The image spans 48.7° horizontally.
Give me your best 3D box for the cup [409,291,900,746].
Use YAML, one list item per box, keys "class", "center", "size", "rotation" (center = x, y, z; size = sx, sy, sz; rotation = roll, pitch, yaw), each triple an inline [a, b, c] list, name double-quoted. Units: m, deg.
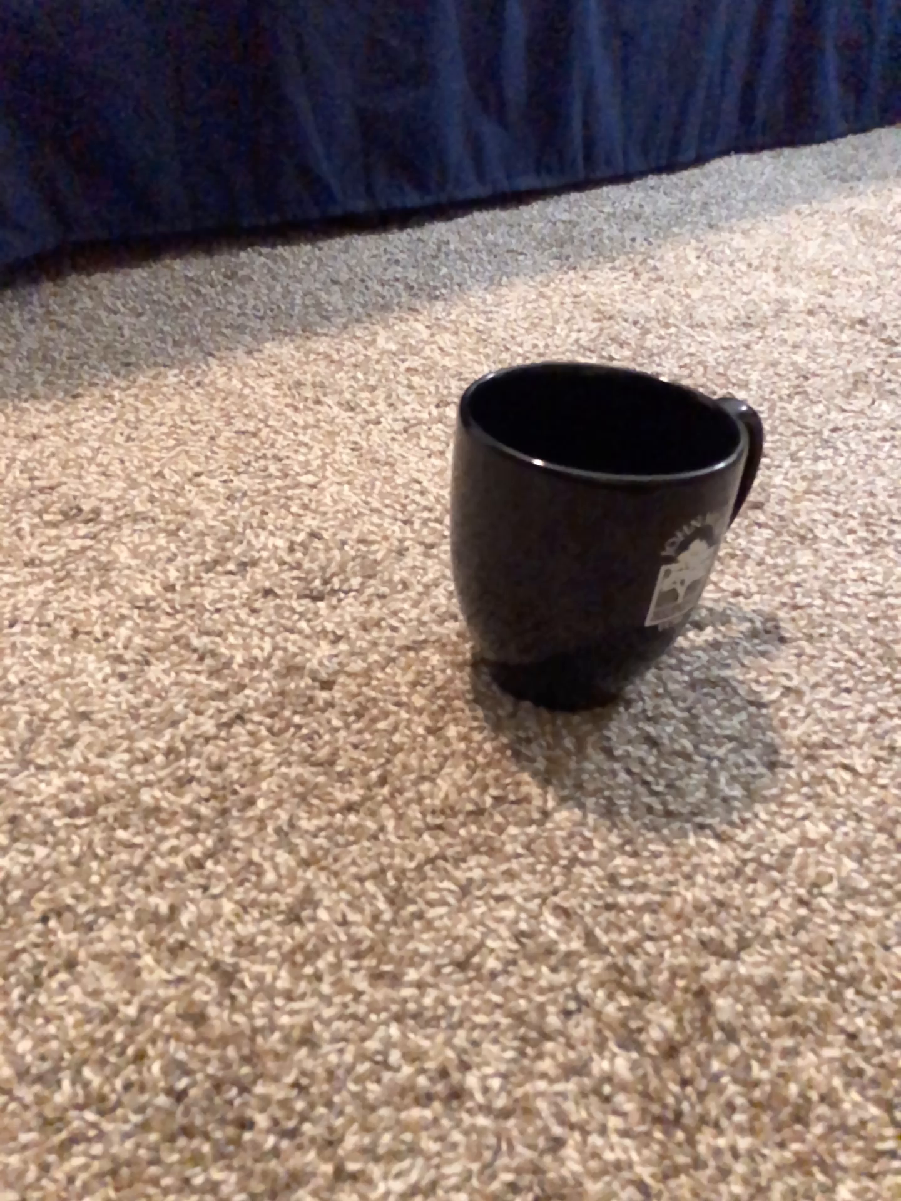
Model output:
- class: "cup"
  center: [0.069, -0.038, 0.349]
  size: [0.140, 0.090, 0.090]
  rotation: [-26, 45, -33]
